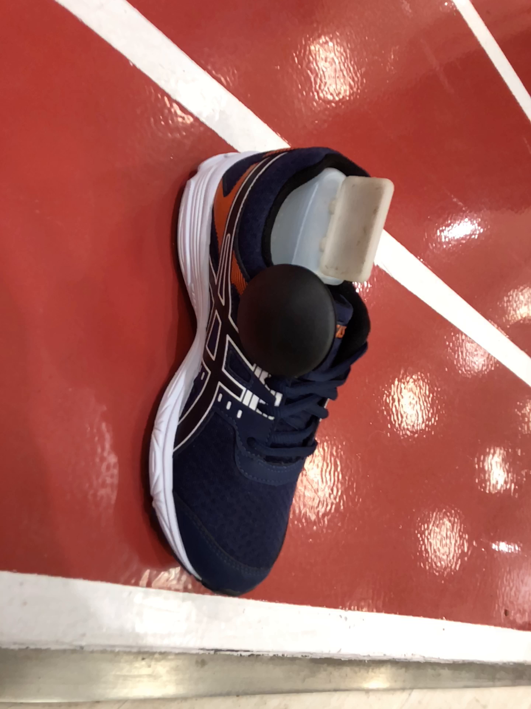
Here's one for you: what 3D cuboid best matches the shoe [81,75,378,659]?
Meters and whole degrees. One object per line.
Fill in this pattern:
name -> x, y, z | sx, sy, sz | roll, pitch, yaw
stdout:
shoe -> -0.015, 0.007, 0.308 | 0.101, 0.099, 0.240 | 11, 79, -43
